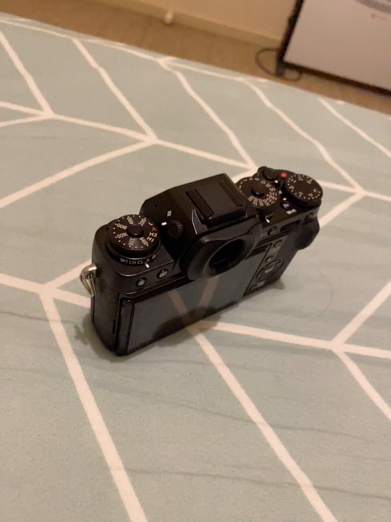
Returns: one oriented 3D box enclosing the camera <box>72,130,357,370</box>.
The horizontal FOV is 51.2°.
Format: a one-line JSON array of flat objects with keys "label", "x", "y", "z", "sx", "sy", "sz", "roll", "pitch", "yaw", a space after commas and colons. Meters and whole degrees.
[{"label": "camera", "x": 0.007, "y": -0.009, "z": 0.223, "sx": 0.130, "sy": 0.087, "sz": 0.052, "roll": -21, "pitch": 59, "yaw": -28}]
